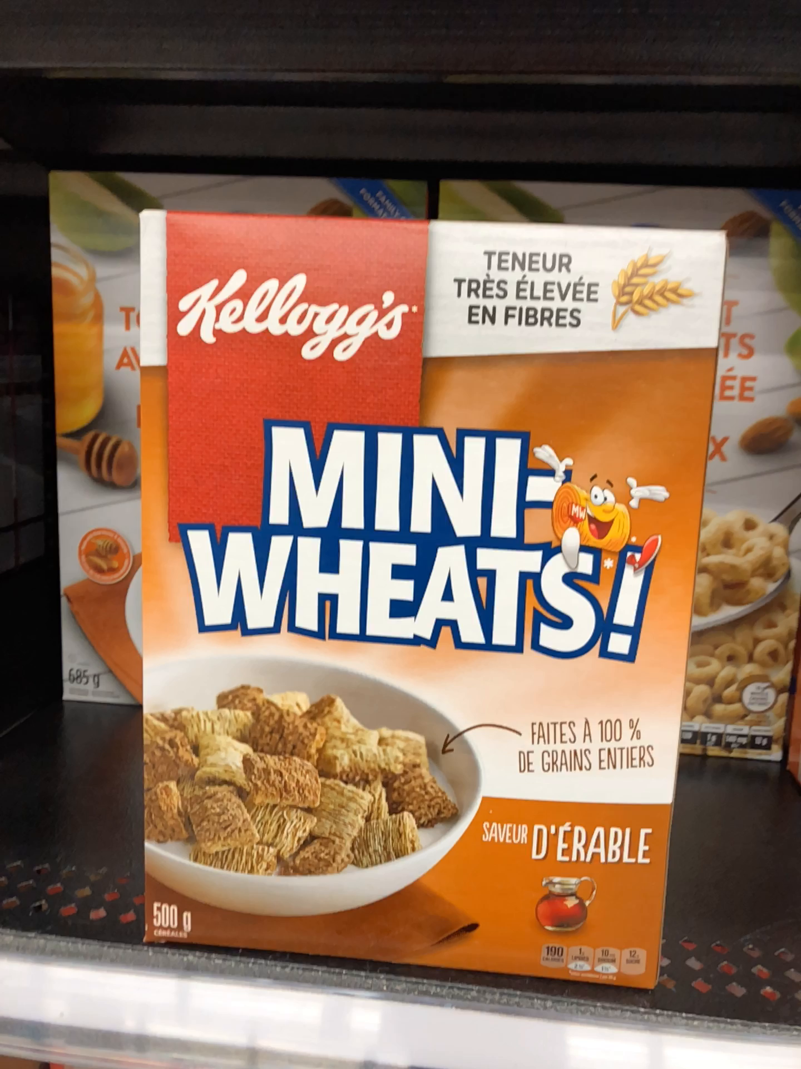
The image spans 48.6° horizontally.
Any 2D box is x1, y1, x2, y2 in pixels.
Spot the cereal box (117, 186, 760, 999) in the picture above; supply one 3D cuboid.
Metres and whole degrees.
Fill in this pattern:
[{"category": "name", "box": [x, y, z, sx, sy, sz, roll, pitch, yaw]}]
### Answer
[{"category": "cereal box", "box": [0.006, 0.020, 0.329, 0.200, 0.269, 0.060, 3, 11, 6]}]
